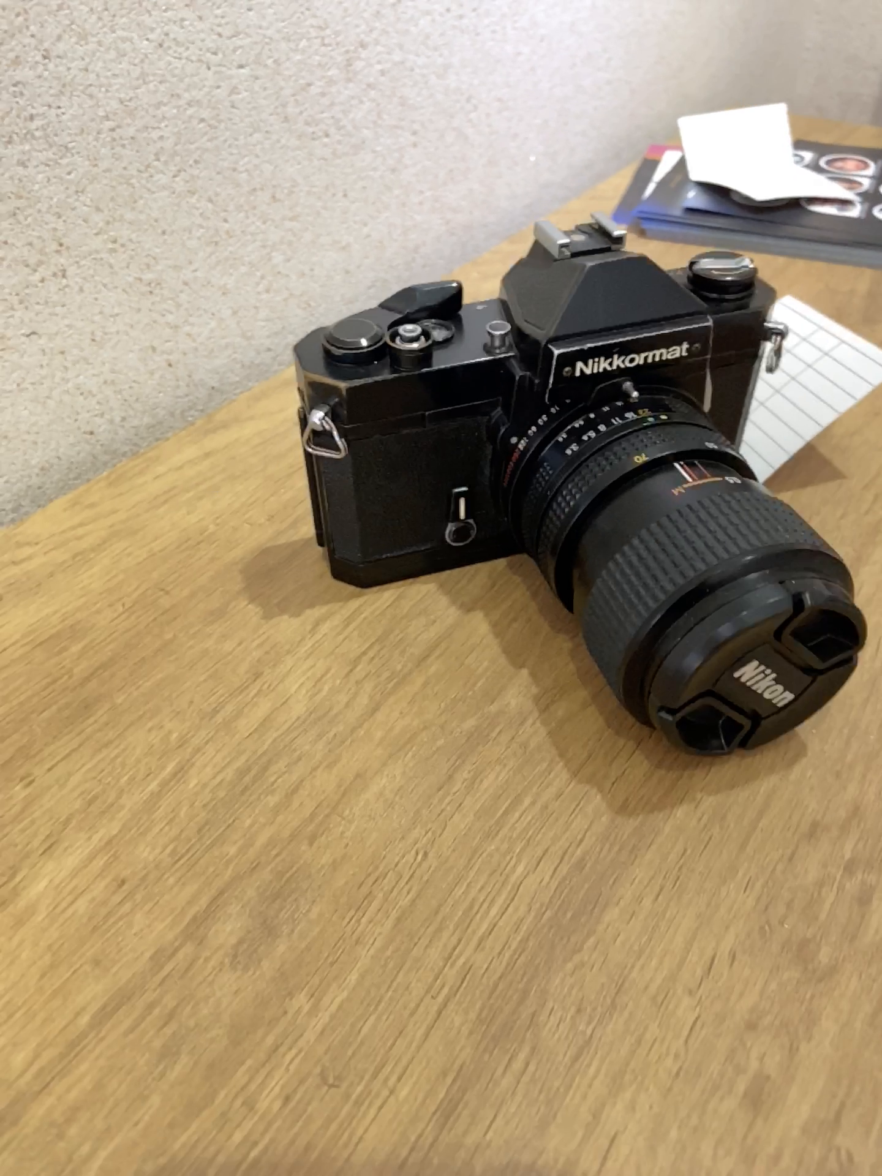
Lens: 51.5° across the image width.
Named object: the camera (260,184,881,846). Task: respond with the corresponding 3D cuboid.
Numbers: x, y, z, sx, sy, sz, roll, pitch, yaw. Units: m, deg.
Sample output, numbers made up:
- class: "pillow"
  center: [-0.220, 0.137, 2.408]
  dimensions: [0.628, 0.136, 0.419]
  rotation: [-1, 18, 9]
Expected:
- class: "camera"
  center: [0.045, -0.033, 0.251]
  dimensions: [0.160, 0.089, 0.141]
  rotation: [-11, 42, -10]
